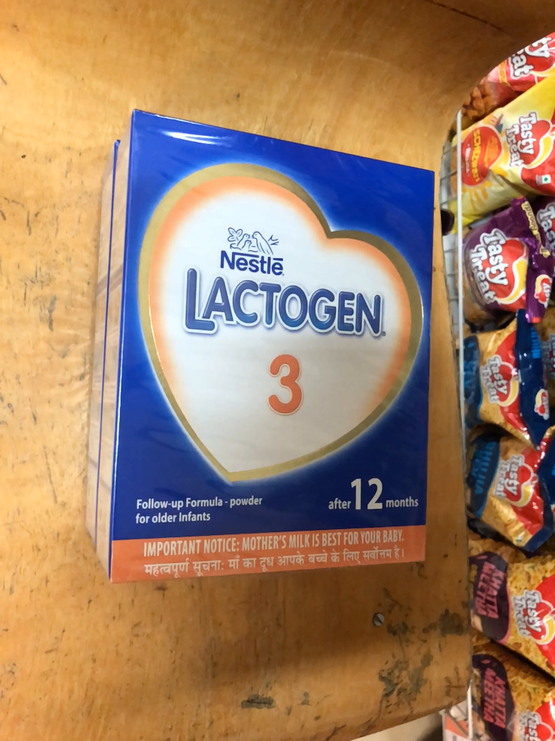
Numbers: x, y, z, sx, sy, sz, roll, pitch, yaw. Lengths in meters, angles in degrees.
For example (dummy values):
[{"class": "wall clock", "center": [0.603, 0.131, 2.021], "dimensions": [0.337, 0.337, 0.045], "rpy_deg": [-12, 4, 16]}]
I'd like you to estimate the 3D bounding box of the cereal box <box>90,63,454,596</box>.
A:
[{"class": "cereal box", "center": [-0.001, -0.012, 0.287], "dimensions": [0.150, 0.060, 0.200], "rpy_deg": [3, 87, -22]}]
